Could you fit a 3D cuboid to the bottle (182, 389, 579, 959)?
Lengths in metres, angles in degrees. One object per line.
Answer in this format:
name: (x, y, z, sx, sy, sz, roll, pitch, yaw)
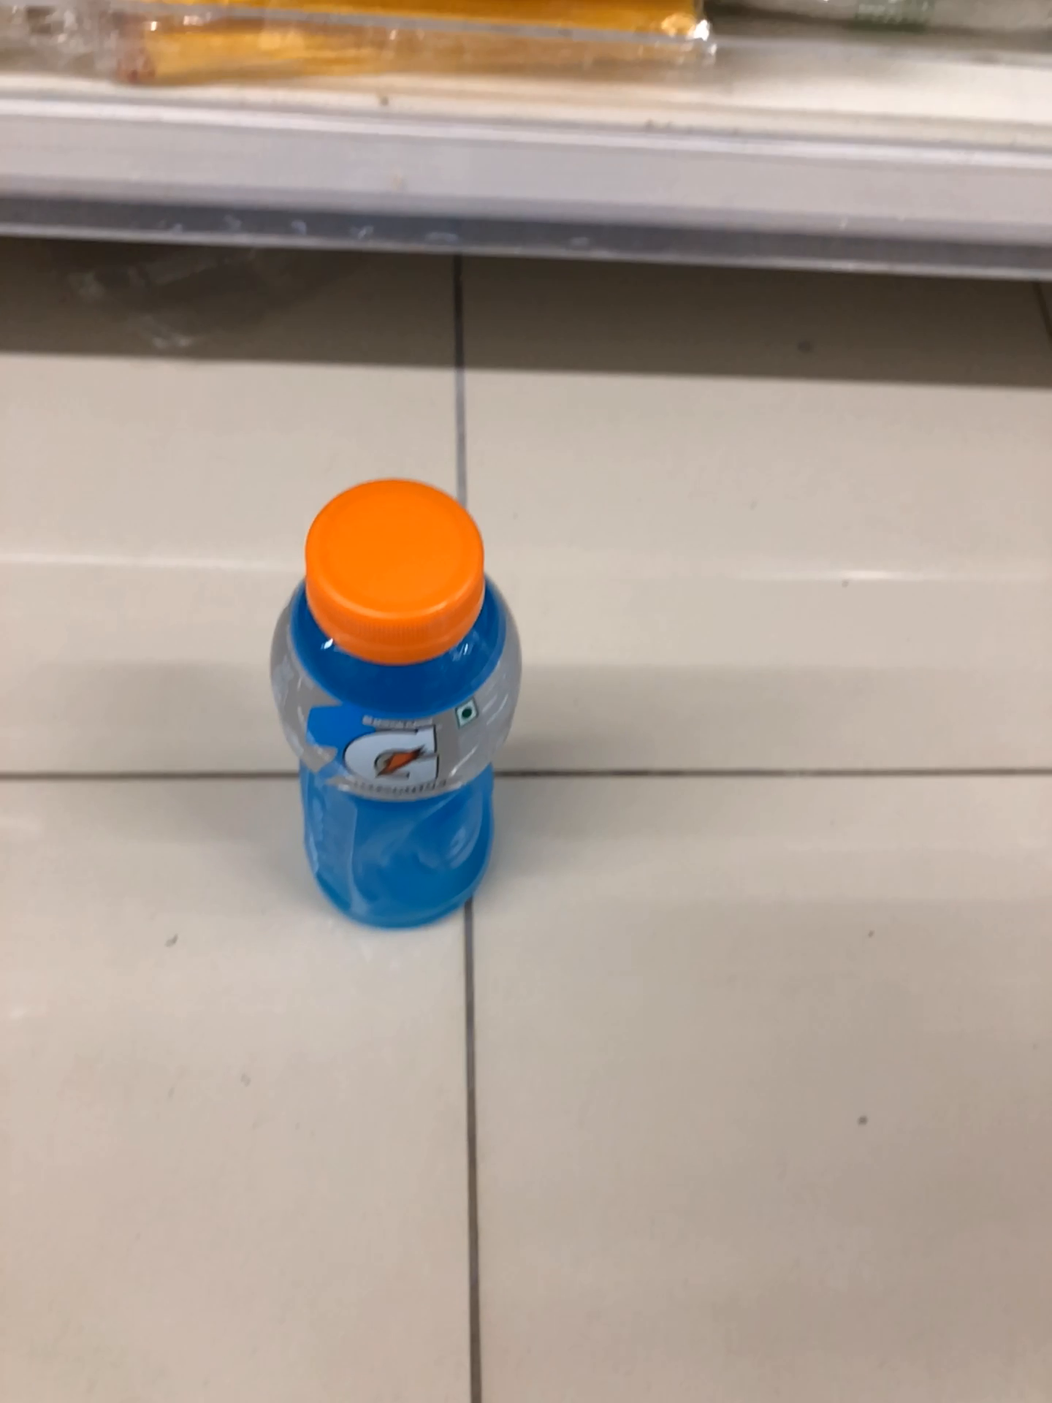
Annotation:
bottle: (-0.037, 0.009, 0.336, 0.070, 0.189, 0.070, 2, 63, -4)
